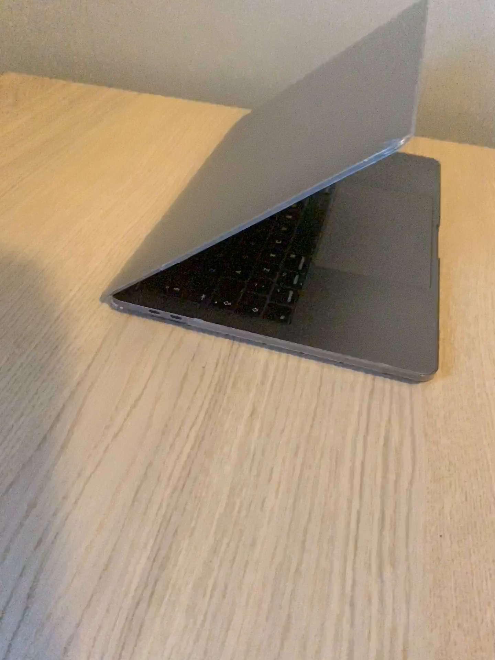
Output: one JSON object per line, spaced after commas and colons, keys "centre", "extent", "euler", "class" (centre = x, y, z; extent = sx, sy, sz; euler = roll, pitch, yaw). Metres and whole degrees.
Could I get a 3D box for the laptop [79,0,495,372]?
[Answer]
{"centre": [0.054, -0.140, 0.371], "extent": [0.204, 0.130, 0.291], "euler": [12, 44, 10], "class": "laptop"}
